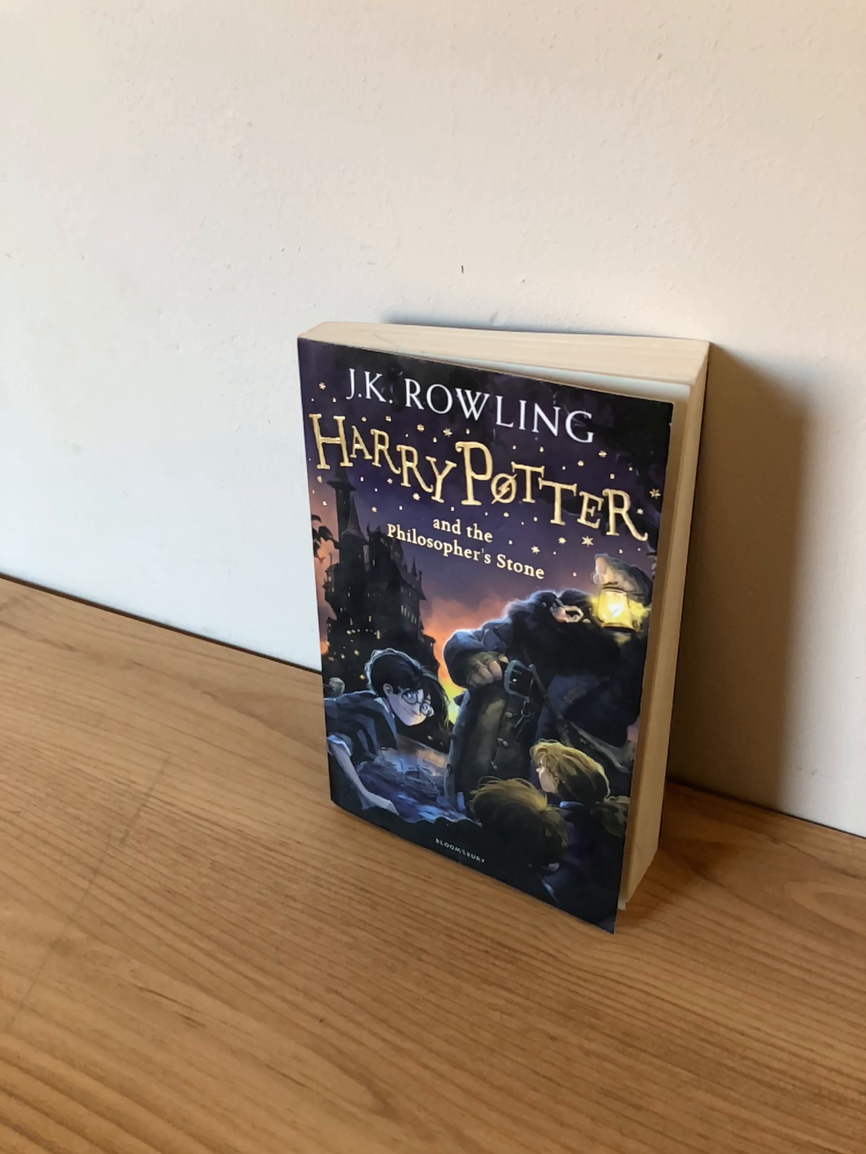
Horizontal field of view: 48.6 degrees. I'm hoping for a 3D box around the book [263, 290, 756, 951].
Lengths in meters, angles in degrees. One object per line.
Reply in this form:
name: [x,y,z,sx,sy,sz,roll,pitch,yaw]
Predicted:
book: [0.020,0.011,0.338,0.135,0.192,0.068,17,31,28]
